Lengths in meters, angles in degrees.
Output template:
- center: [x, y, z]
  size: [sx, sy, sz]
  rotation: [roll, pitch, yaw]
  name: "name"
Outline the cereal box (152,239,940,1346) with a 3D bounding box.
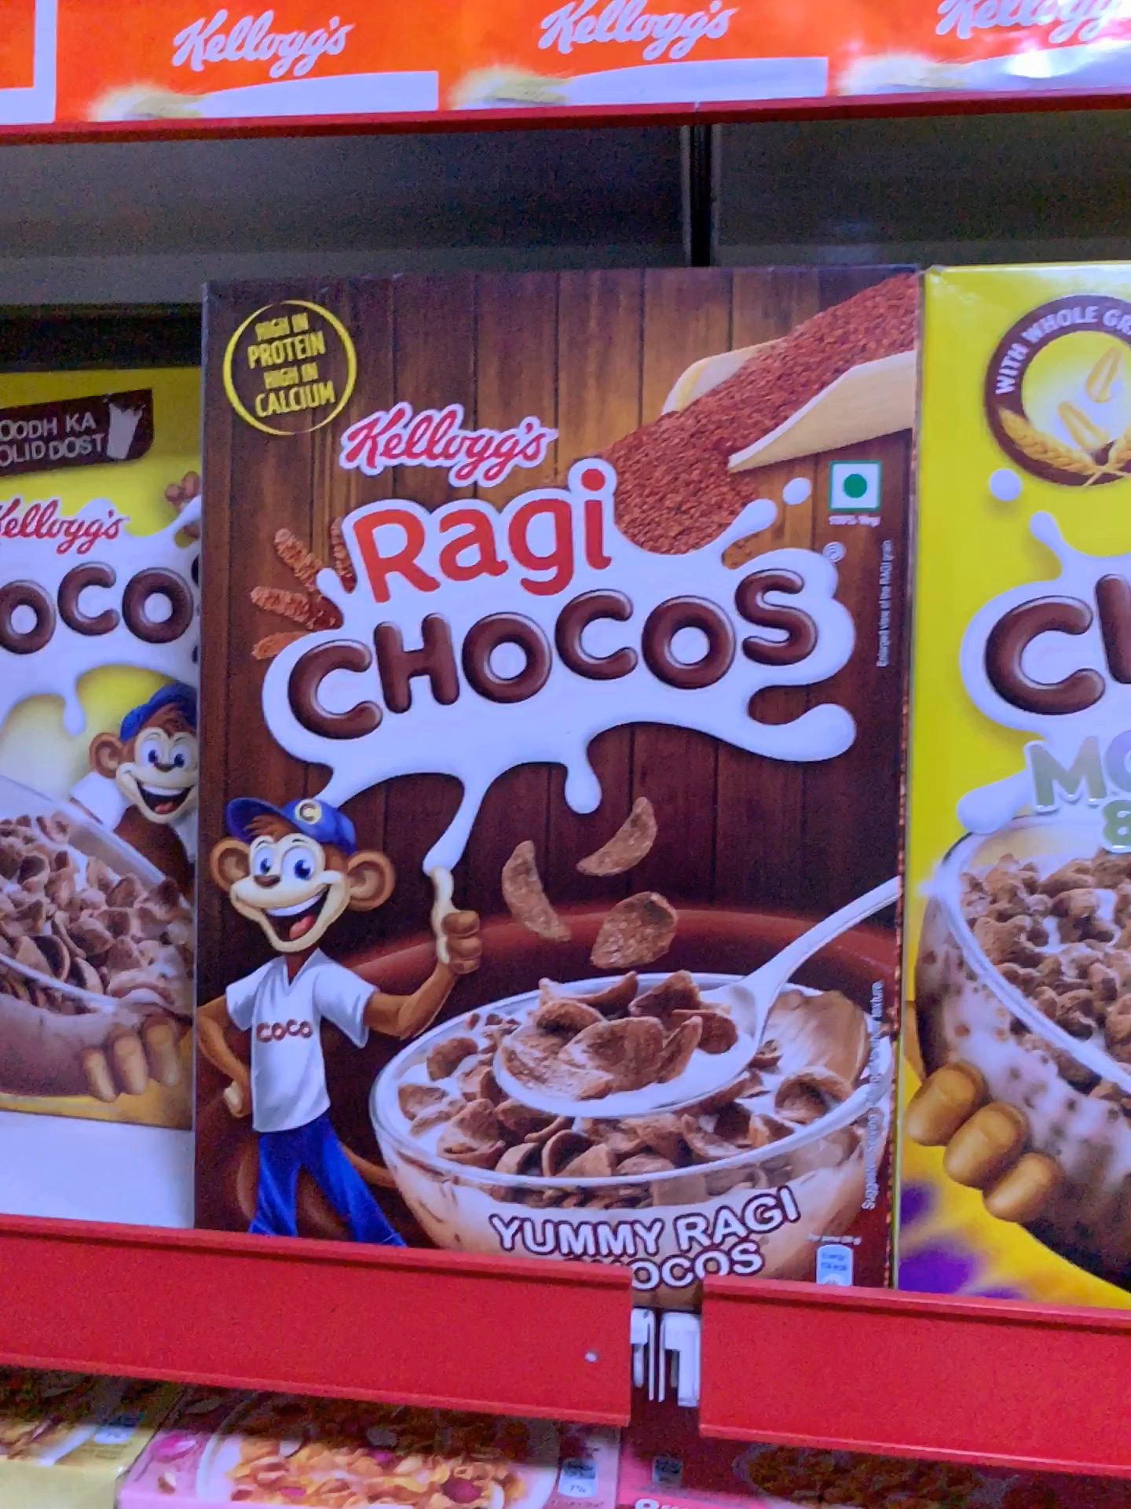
- center: [-0.006, 0.006, 0.300]
  size: [0.180, 0.240, 0.060]
  rotation: [1, 3, 10]
  name: "cereal box"
